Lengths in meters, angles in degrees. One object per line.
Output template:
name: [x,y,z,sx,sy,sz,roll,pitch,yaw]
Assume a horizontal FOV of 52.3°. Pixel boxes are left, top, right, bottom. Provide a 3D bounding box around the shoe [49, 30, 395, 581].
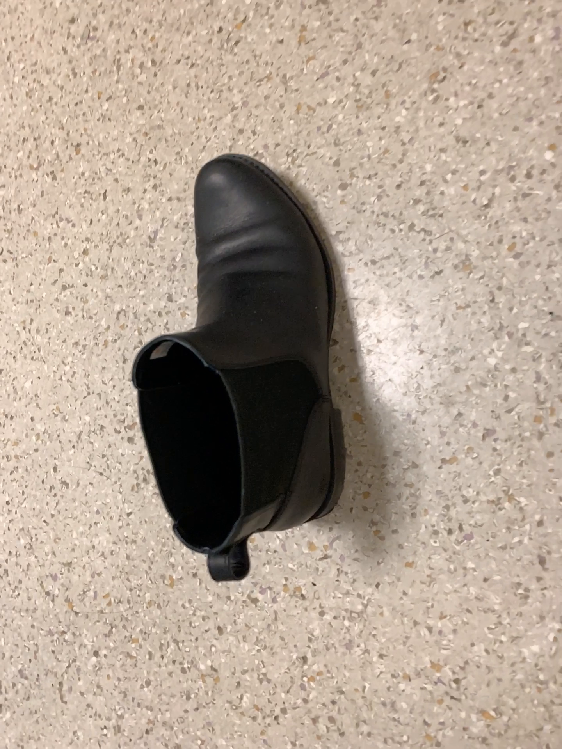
shoe: [-0.031,-0.033,0.365,0.108,0.147,0.270,-17,79,24]
